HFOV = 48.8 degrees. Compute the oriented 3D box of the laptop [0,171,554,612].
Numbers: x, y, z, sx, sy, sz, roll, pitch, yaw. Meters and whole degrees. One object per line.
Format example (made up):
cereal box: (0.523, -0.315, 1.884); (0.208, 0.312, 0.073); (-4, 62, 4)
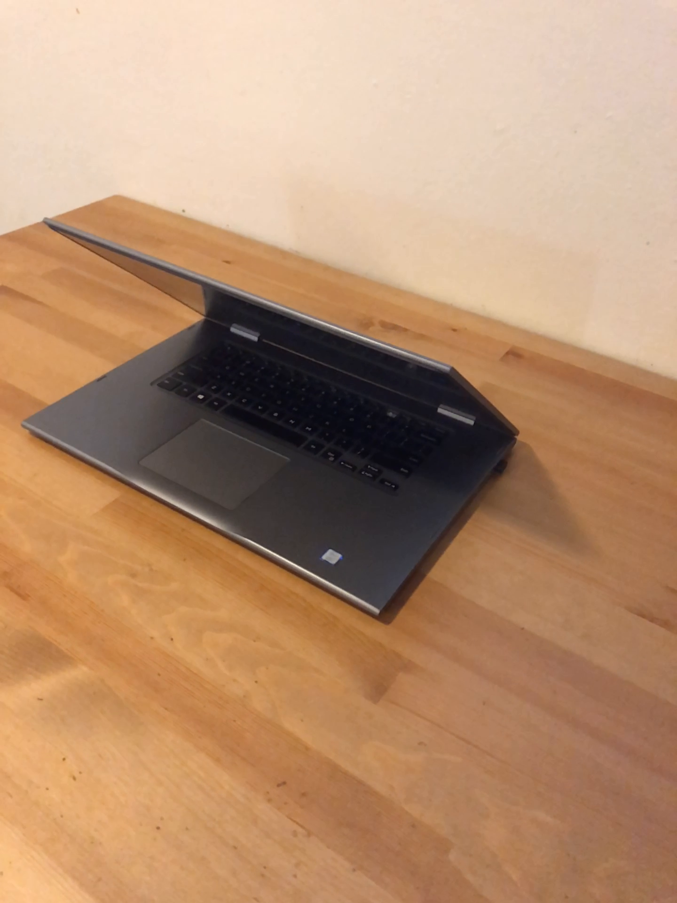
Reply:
laptop: (-0.060, -0.082, 0.626); (0.375, 0.165, 0.248); (23, 42, 24)
